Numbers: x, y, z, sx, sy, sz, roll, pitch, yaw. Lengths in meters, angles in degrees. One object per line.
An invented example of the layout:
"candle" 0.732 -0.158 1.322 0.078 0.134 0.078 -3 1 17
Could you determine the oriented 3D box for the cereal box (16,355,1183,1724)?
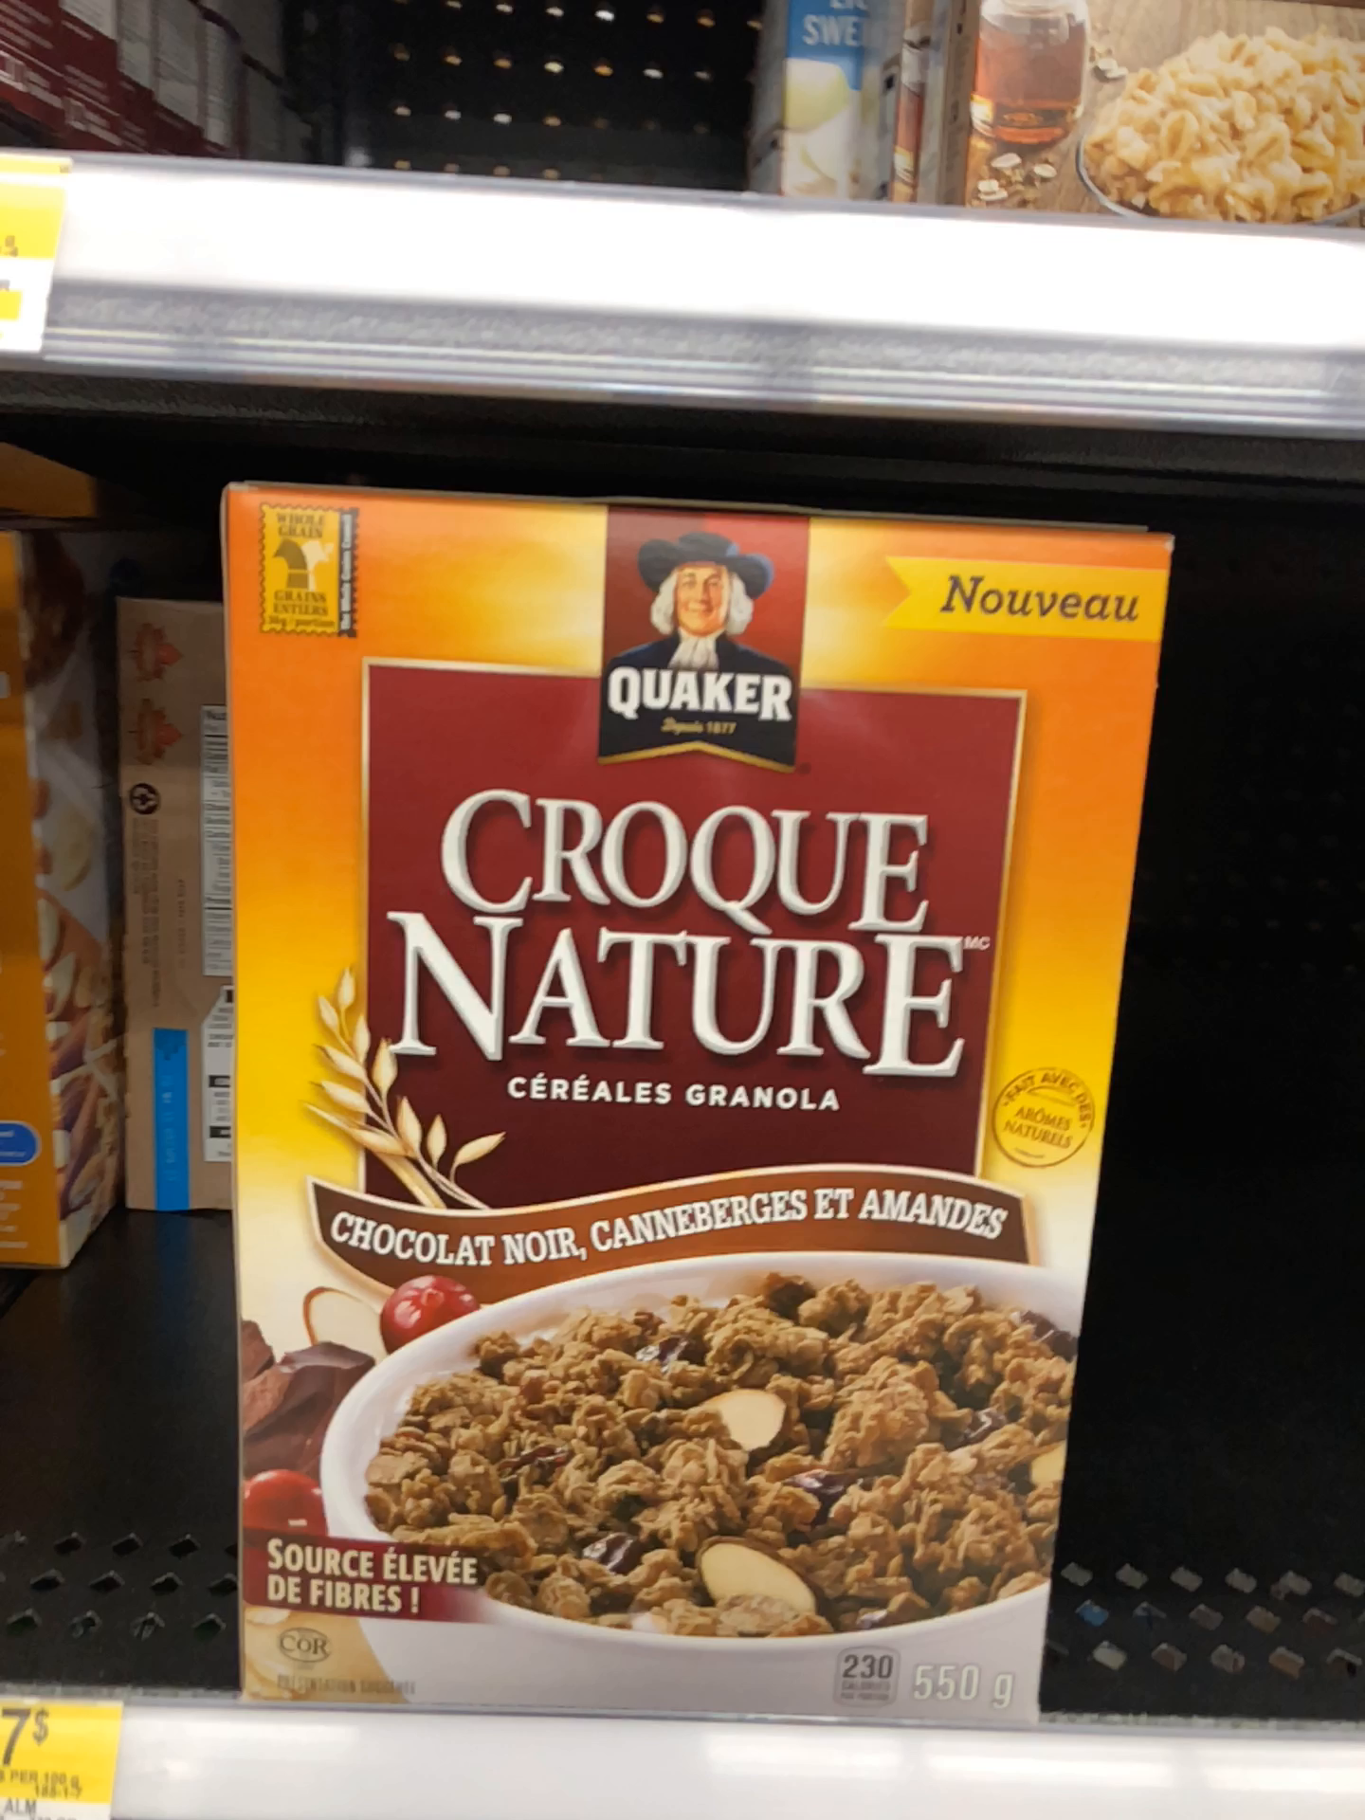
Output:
"cereal box" -0.017 0.028 0.272 0.170 0.229 0.050 3 14 0
